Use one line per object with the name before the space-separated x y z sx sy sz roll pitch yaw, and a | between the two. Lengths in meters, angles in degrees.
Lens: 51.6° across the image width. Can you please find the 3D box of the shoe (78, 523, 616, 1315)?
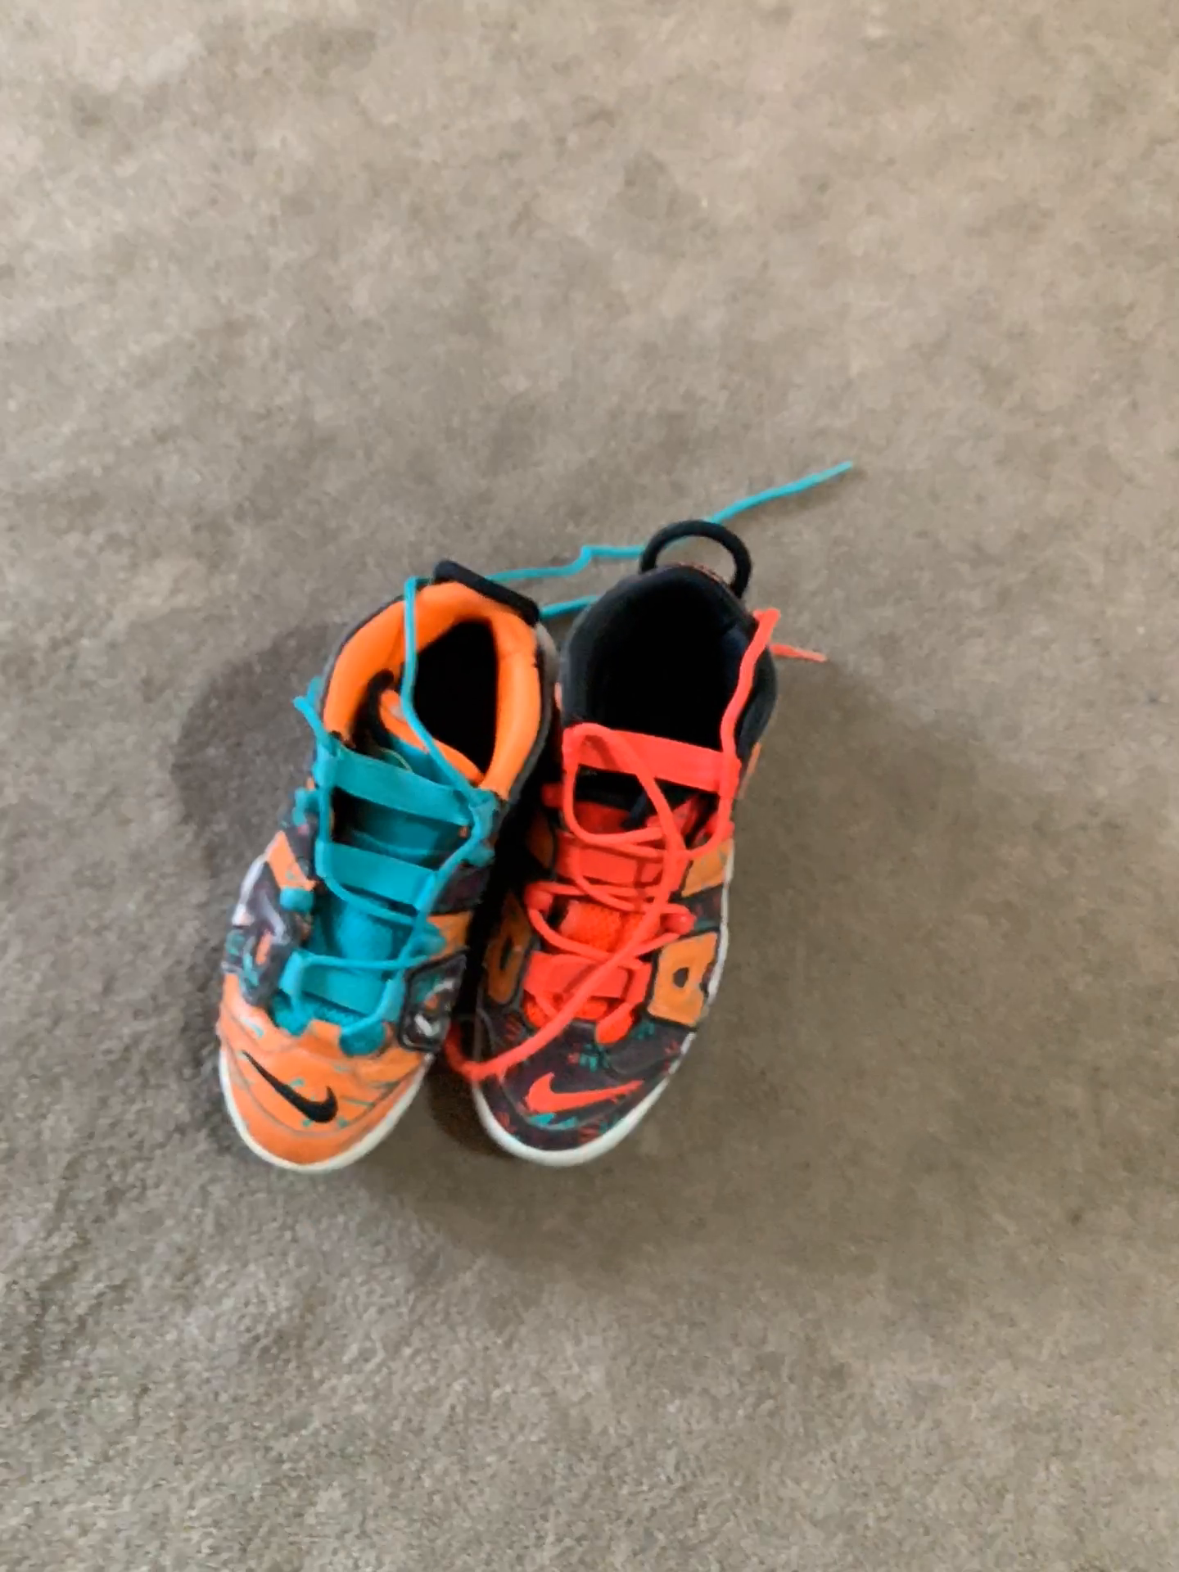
shoe | -0.081 0.045 0.462 0.100 0.090 0.250 20 84 1

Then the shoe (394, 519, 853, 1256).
shoe | 0.015 0.035 0.466 0.100 0.110 0.230 15 84 4
